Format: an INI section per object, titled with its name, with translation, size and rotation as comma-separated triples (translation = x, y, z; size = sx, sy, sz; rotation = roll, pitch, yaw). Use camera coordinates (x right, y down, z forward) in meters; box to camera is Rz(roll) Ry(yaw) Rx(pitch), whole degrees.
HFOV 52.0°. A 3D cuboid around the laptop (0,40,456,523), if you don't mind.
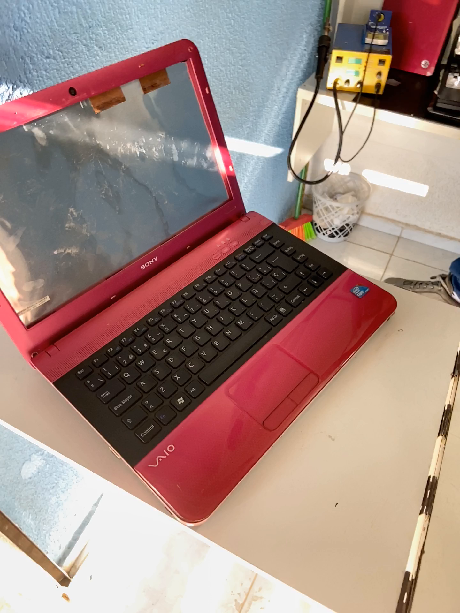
[laptop]
translation = -0.042, -0.068, 0.468
size = 0.340, 0.188, 0.331
rotation = 36, 57, 26
